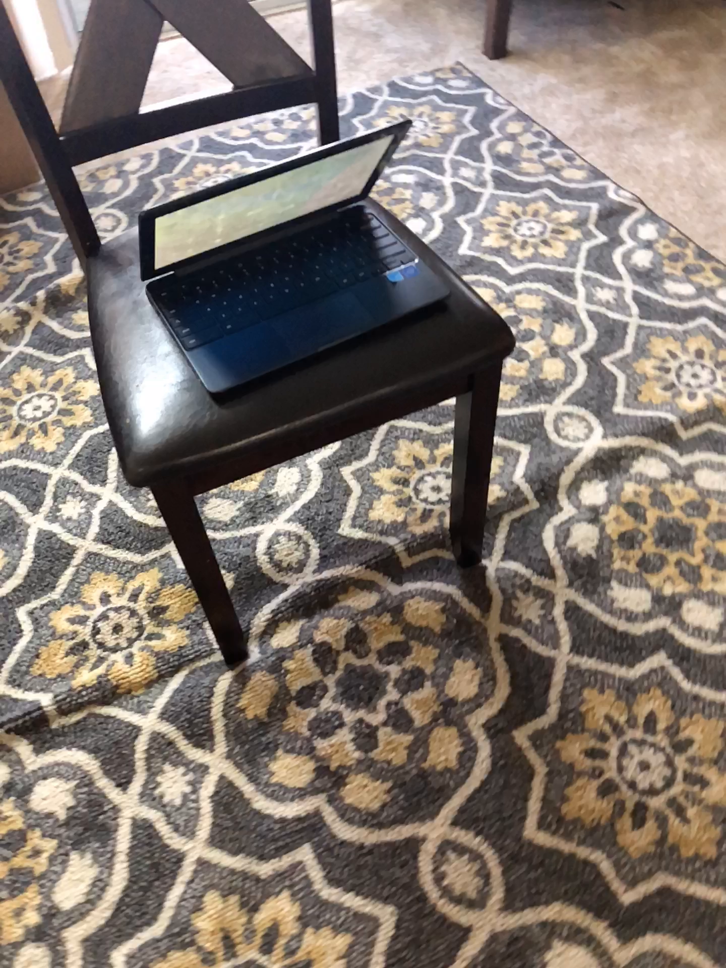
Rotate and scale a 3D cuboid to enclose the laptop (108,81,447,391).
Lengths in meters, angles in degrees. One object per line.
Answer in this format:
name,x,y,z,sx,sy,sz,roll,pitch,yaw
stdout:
laptop,-0.081,-0.257,0.806,0.263,0.155,0.192,-25,54,-17
